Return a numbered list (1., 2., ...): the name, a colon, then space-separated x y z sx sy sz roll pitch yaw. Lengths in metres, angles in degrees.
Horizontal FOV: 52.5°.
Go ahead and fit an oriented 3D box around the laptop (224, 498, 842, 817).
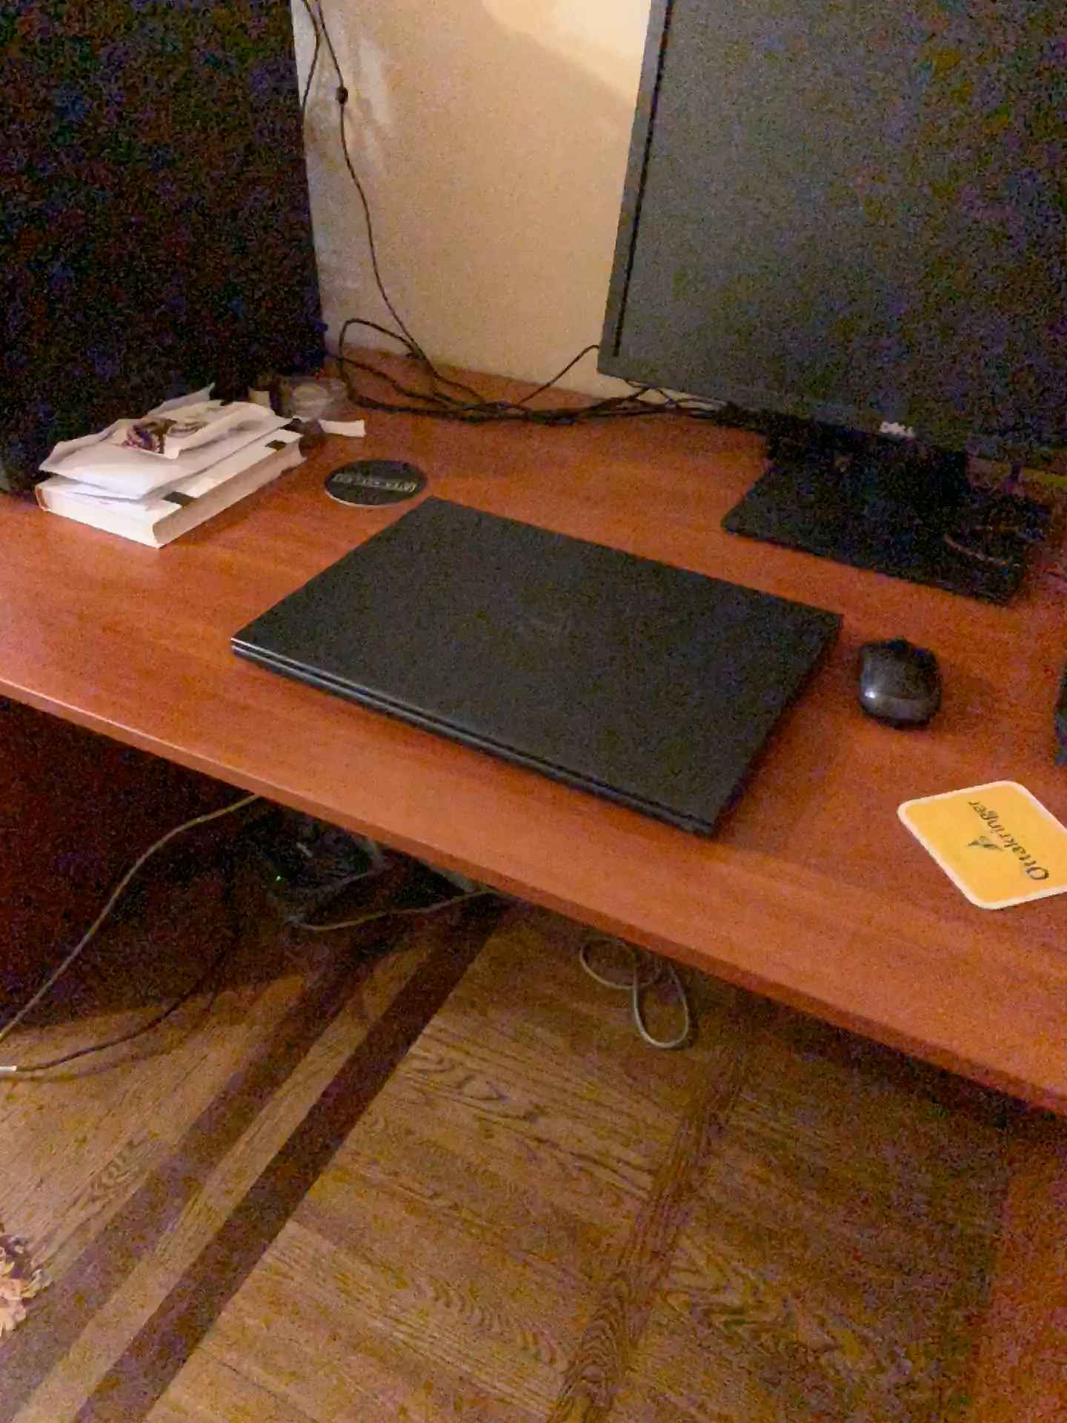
1. laptop: 0.006 -0.060 0.757 0.351 0.001 0.248 20 41 22
